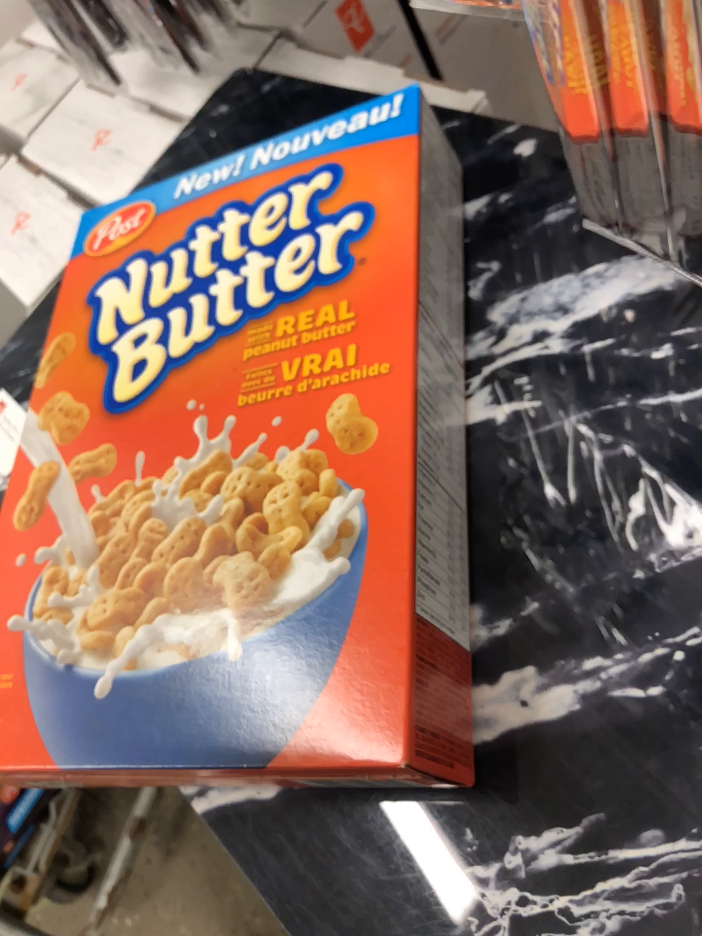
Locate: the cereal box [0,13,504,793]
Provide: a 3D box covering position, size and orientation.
[{"bbox_3d":[-0.053,-0.028,0.333,0.211,0.050,0.300,-11,61,26],"label":"cereal box"}]
